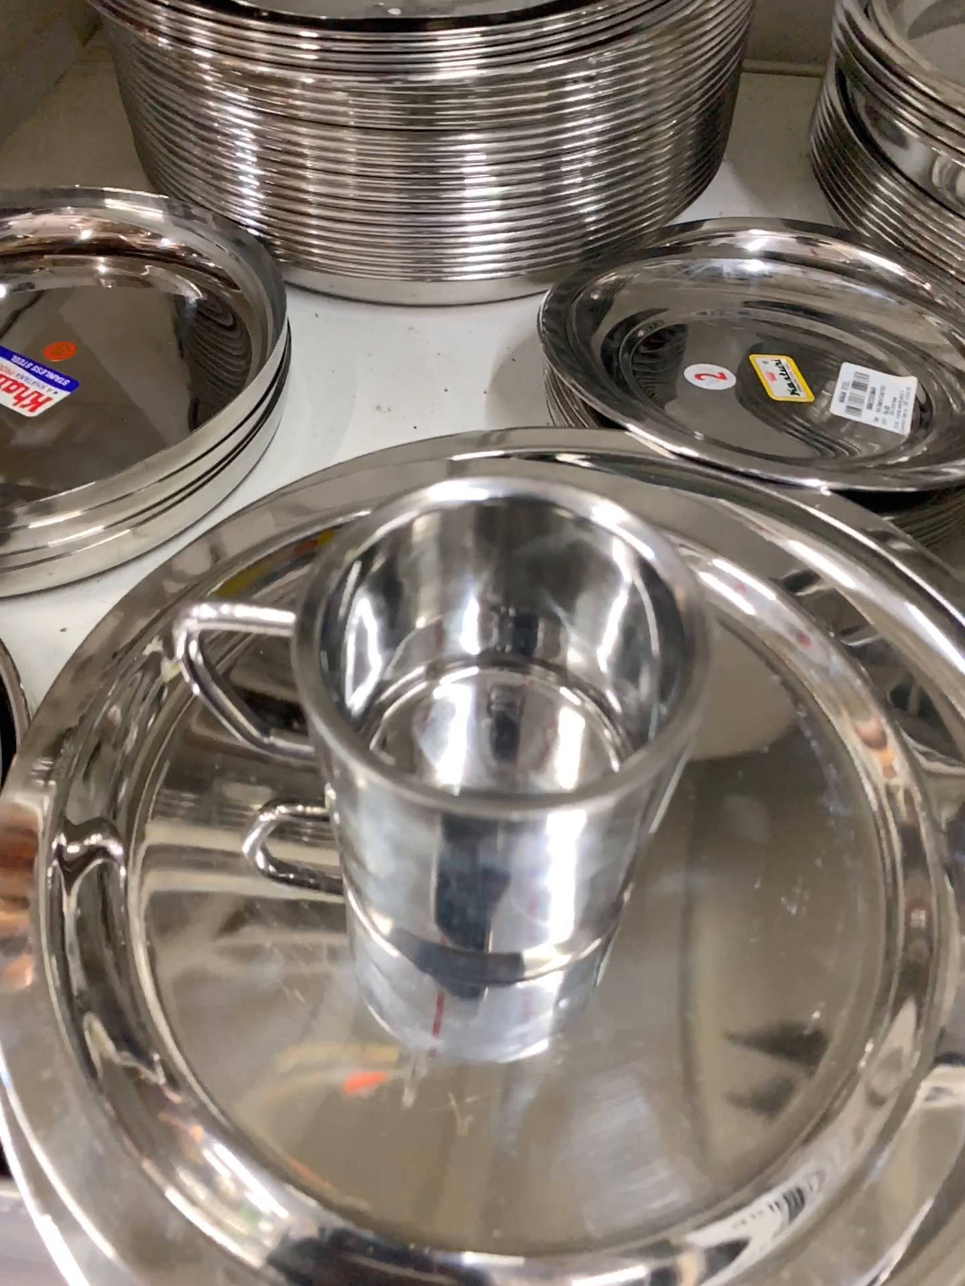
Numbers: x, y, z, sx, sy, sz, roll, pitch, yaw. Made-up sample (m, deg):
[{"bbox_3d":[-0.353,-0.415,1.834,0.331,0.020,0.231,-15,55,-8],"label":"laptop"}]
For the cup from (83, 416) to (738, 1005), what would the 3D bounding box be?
[{"bbox_3d":[-0.006,0.013,0.184,0.090,0.070,0.070,8,54,6],"label":"cup"}]
